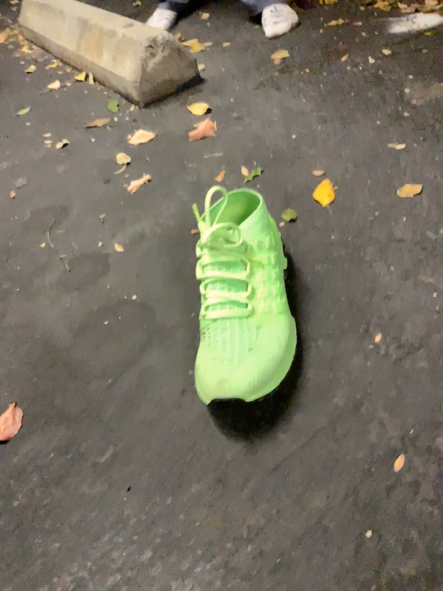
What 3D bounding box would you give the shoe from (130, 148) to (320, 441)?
[{"bbox_3d":[0.031,-0.023,0.572,0.130,0.150,0.320,5,45,15],"label":"shoe"}]
